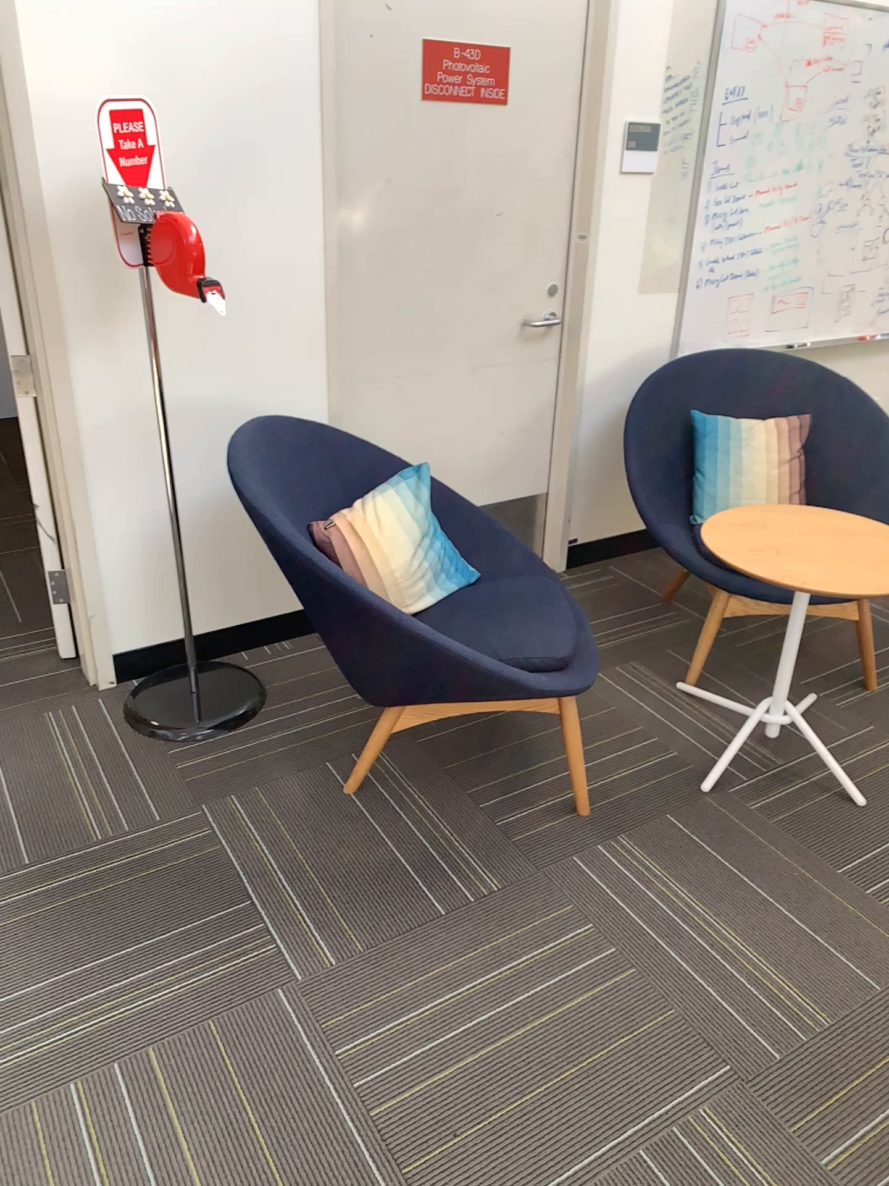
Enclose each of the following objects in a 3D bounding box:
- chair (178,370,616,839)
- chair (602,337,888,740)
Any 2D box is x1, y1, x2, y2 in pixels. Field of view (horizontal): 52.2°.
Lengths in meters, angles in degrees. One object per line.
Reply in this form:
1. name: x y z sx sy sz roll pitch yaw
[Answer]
1. chair: -0.068 -0.026 2.255 0.840 0.835 0.794 4 26 5
2. chair: 0.986 -0.241 2.977 0.830 0.945 0.985 5 26 8
